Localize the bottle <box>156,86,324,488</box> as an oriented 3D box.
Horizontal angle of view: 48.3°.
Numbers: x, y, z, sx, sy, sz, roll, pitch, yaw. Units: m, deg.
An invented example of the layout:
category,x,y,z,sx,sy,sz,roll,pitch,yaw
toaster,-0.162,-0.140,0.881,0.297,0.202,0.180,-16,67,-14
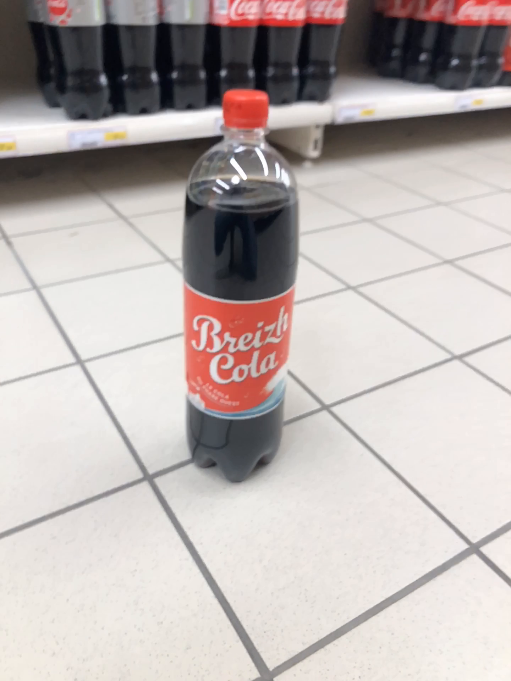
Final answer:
category,x,y,z,sx,sy,sz,roll,pitch,yaw
bottle,-0.018,-0.029,0.461,0.100,0.308,0.101,2,32,-1
